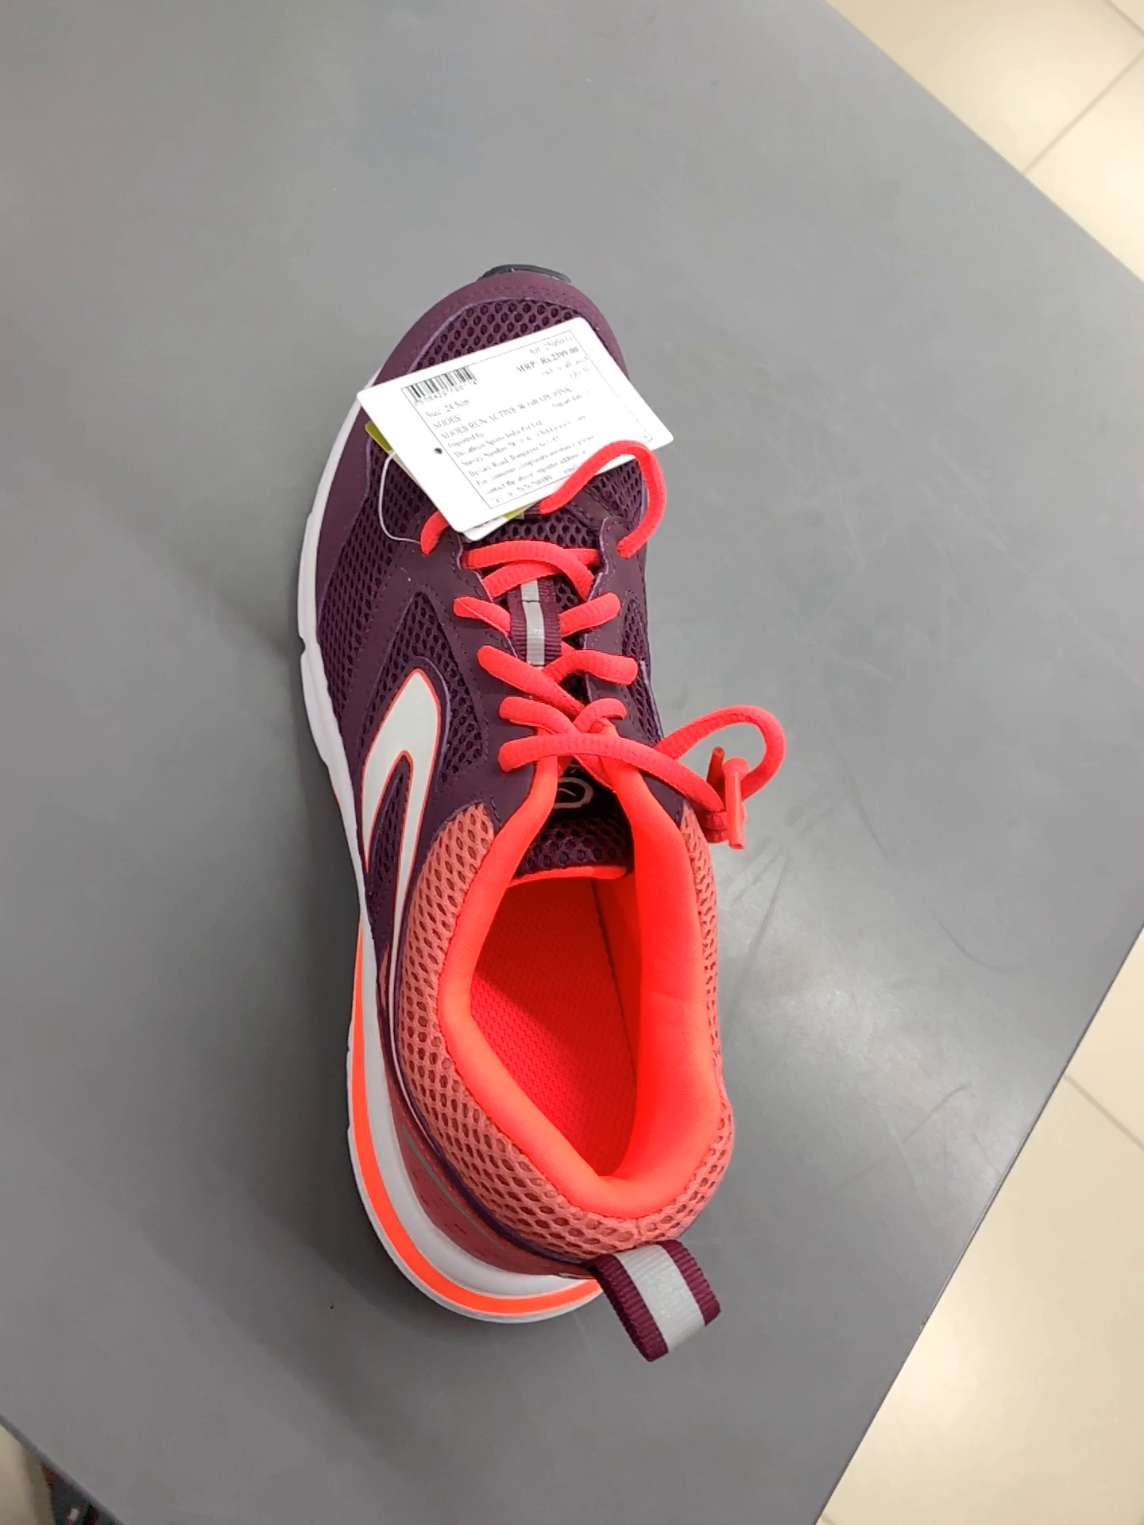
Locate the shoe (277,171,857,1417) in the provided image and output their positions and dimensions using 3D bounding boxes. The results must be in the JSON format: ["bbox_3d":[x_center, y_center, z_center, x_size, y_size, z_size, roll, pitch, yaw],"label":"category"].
[{"bbox_3d":[-0.019,0.000,0.316,0.110,0.100,0.280,0,72,-17],"label":"shoe"}]
